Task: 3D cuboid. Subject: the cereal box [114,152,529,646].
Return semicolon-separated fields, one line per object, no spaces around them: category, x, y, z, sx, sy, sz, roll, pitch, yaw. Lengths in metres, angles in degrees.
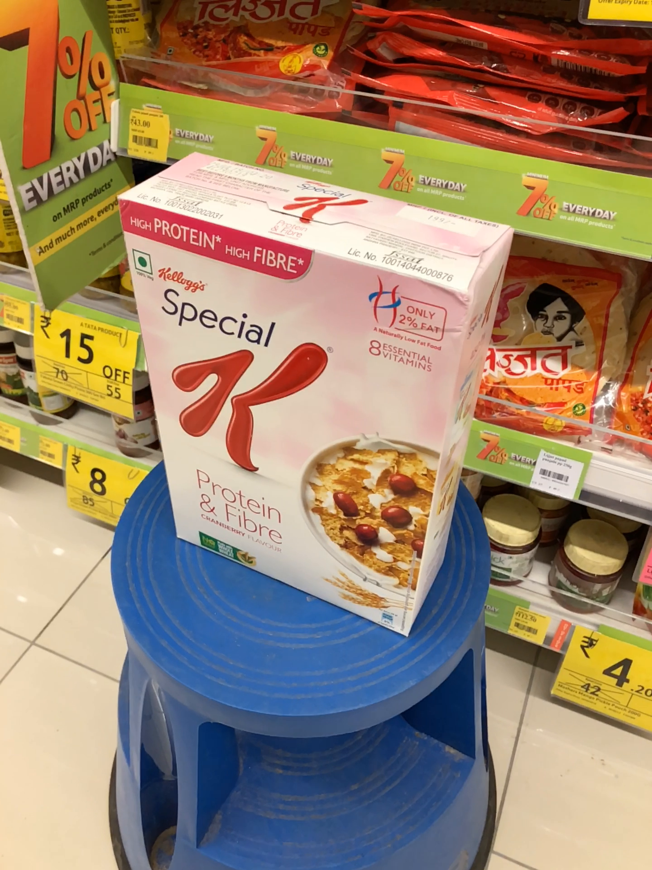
cereal box;-0.005;-0.010;0.417;0.180;0.248;0.070;20;46;19
